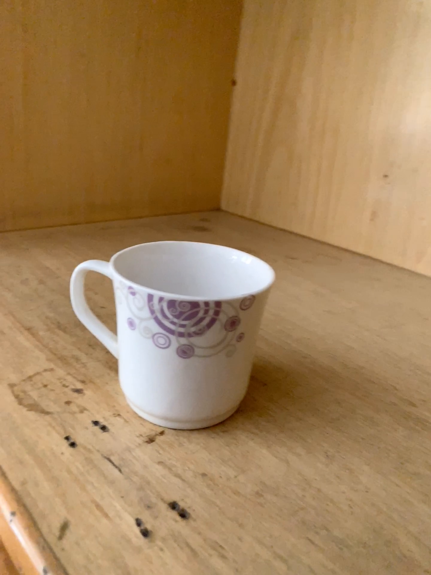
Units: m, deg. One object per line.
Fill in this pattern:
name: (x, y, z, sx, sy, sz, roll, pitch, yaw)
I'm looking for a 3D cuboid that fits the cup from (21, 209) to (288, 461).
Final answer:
cup: (-0.023, 0.013, 0.200, 0.090, 0.070, 0.070, 12, 22, 13)
